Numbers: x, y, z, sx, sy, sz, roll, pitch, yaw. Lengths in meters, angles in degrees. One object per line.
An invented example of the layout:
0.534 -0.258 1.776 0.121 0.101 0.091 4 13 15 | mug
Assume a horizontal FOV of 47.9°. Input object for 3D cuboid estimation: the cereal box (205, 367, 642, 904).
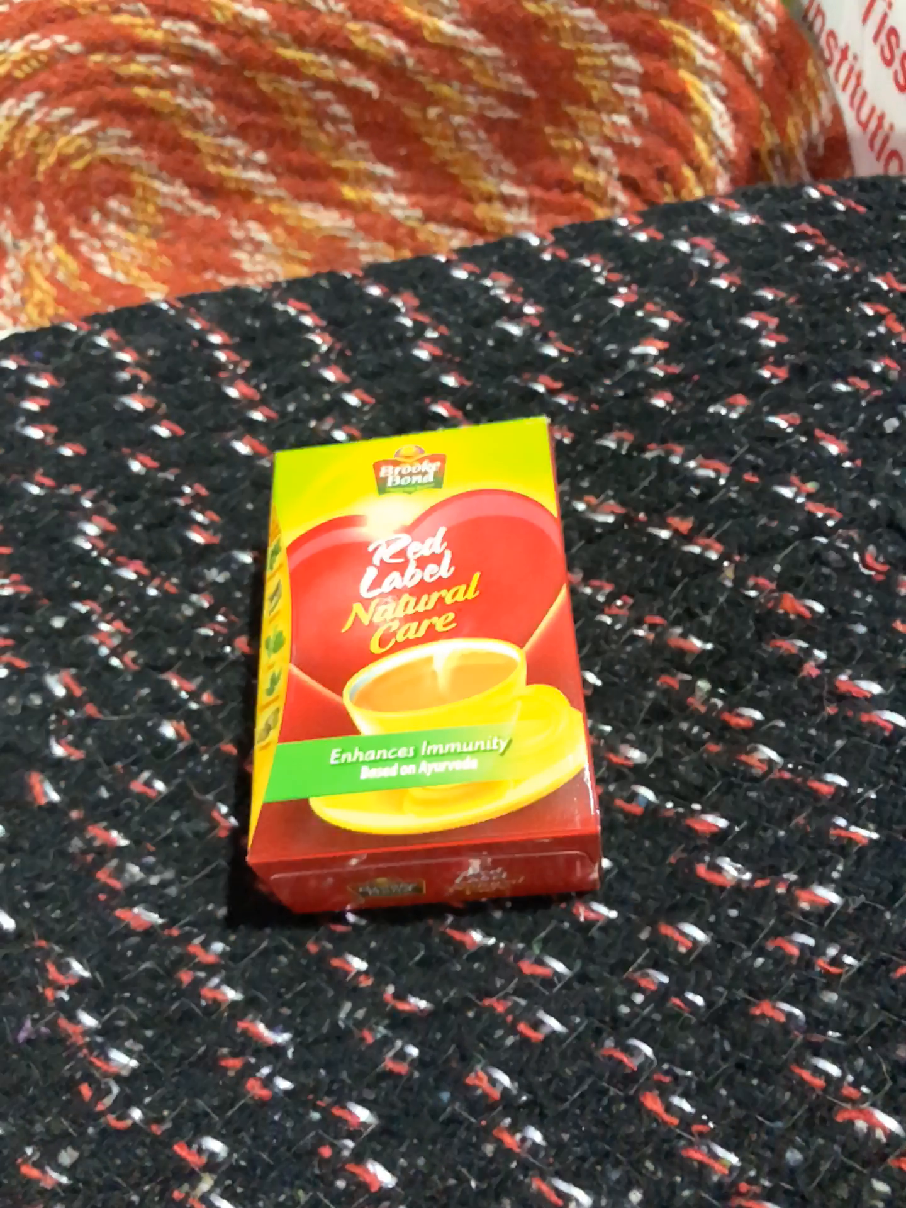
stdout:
-0.006 0.005 0.231 0.080 0.040 0.110 -5 58 3 | cereal box
